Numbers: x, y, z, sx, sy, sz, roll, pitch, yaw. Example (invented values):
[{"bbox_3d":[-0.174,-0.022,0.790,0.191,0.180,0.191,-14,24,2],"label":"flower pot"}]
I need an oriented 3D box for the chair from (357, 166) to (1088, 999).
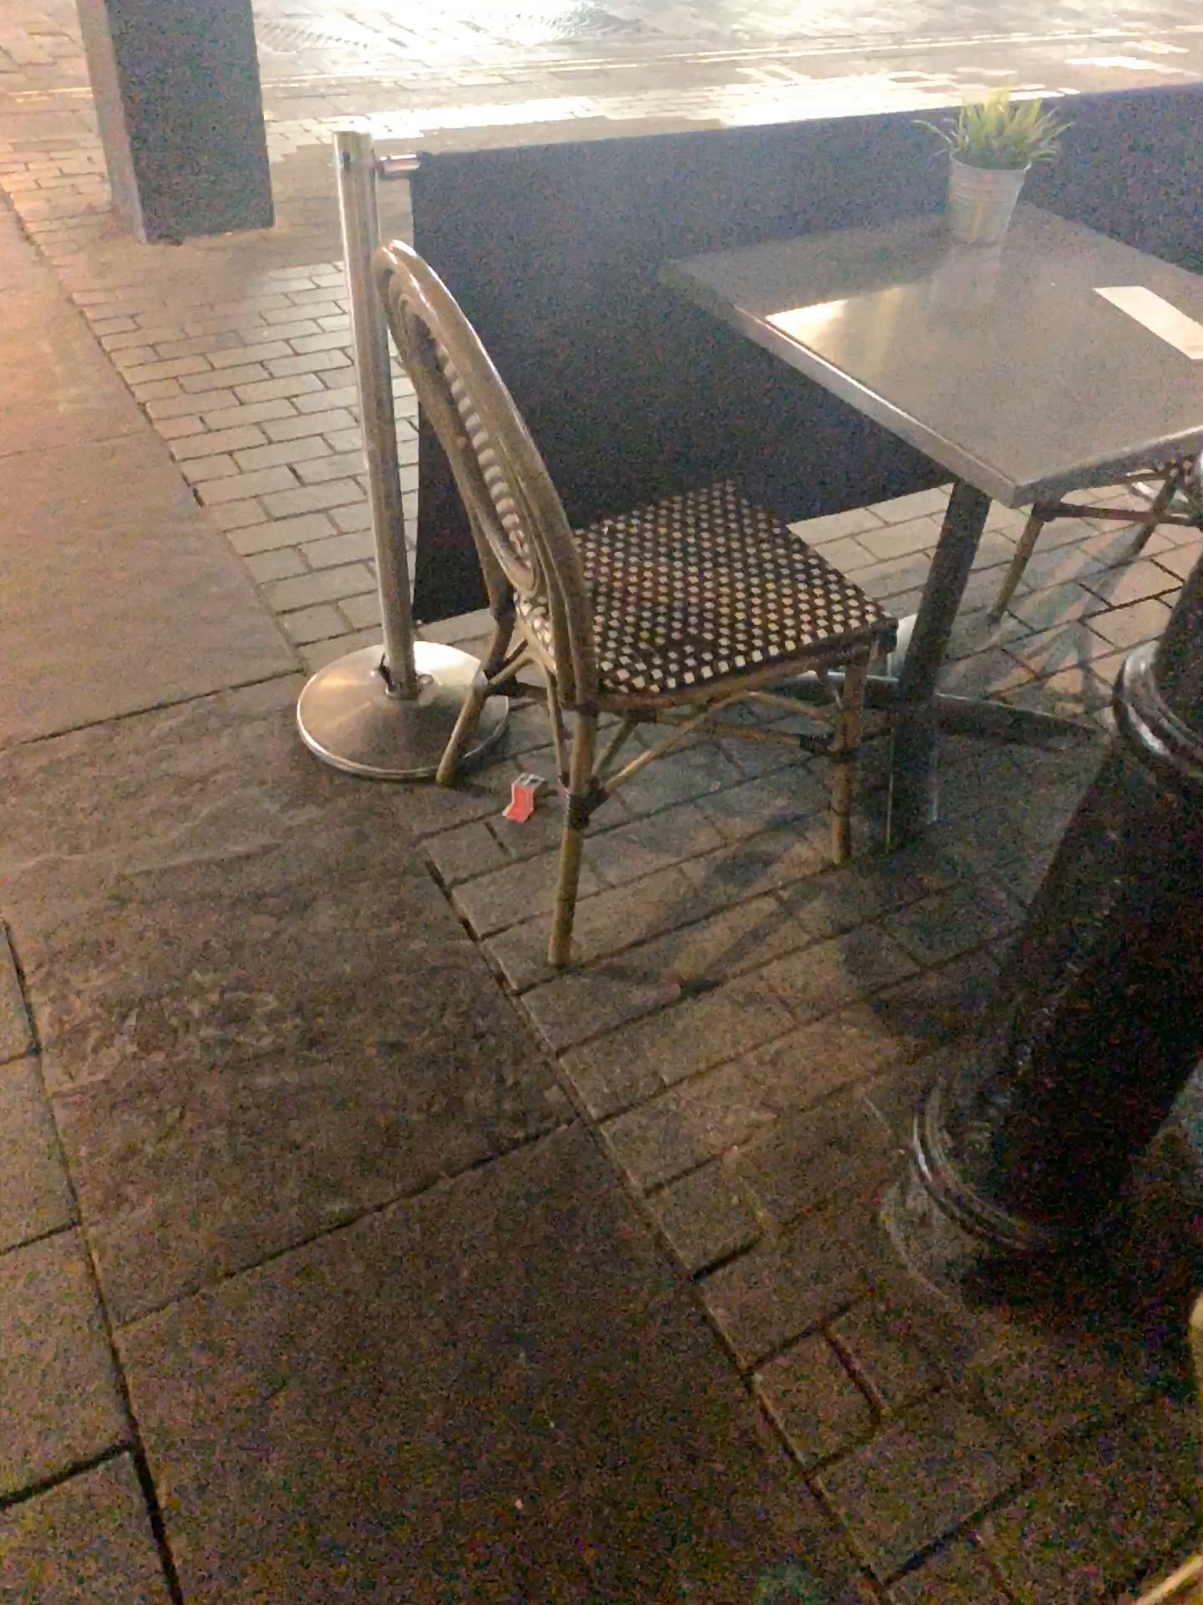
[{"bbox_3d":[0.091,-0.287,1.564,0.601,0.792,0.514,-18,47,-23],"label":"chair"}]
